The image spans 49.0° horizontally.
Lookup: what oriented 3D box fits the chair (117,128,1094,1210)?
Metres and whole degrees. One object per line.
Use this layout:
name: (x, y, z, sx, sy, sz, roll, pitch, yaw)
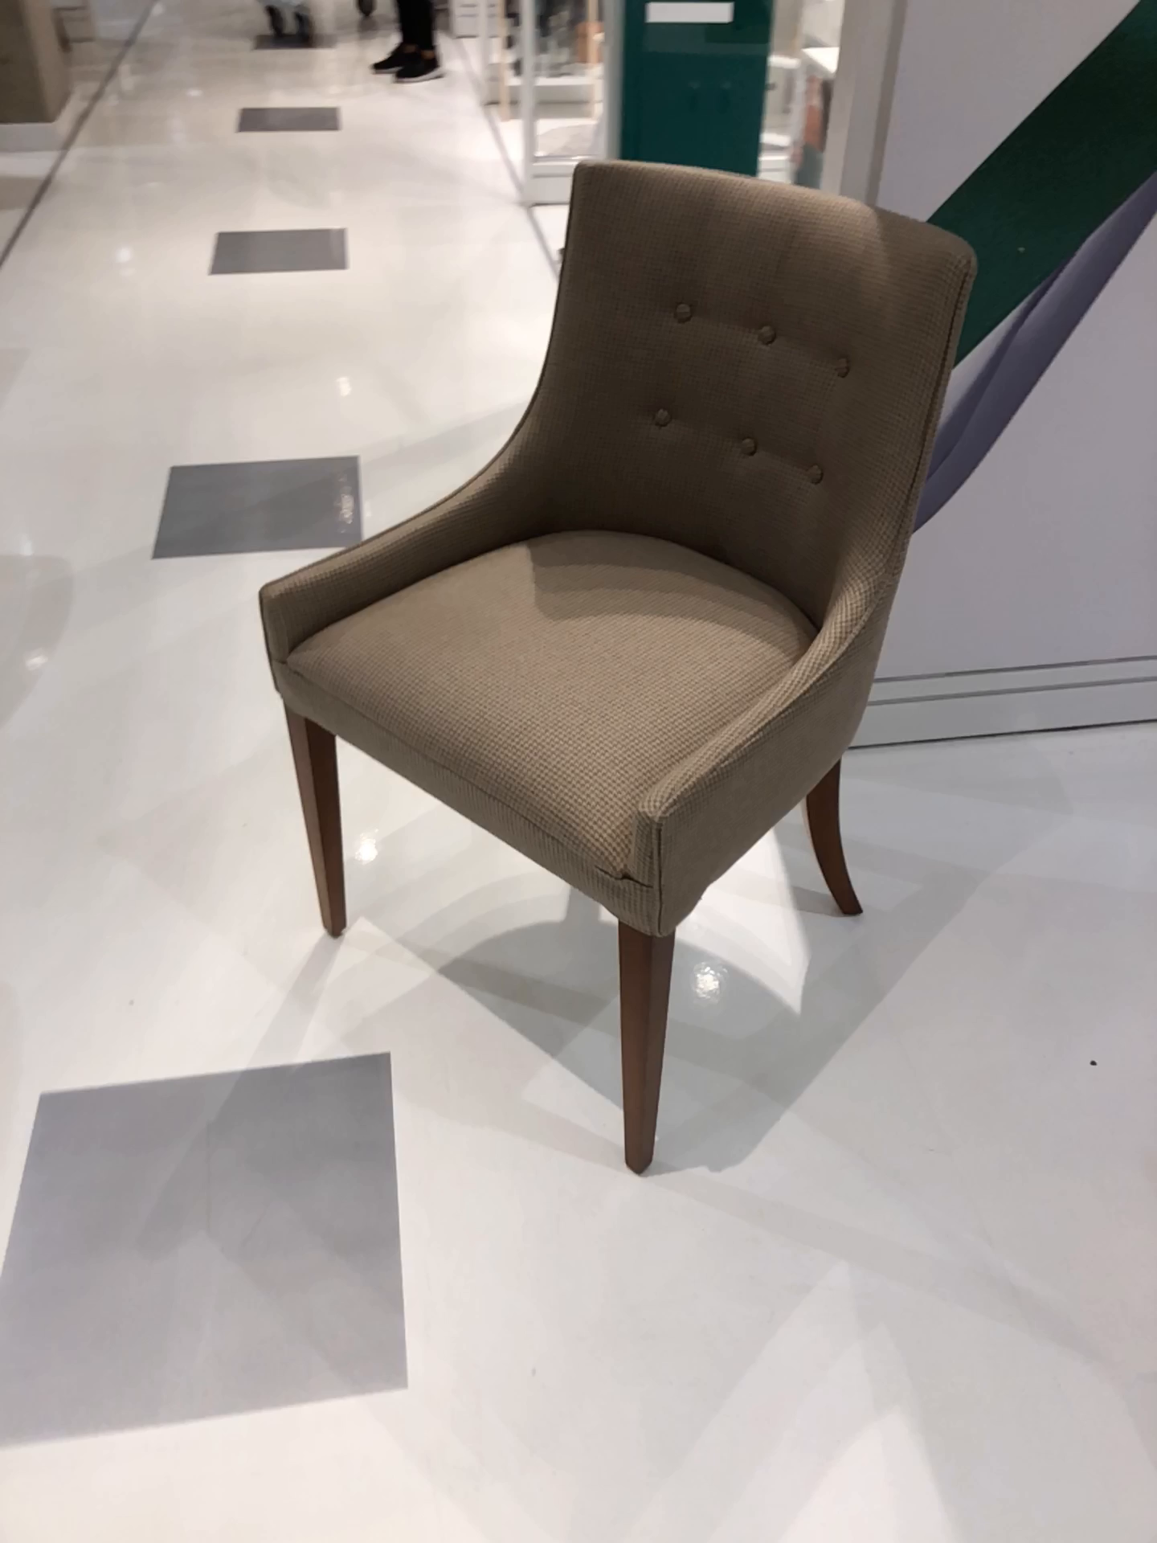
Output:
chair: (0.021, -0.141, 1.332, 0.592, 0.794, 0.593, 32, 48, 33)
